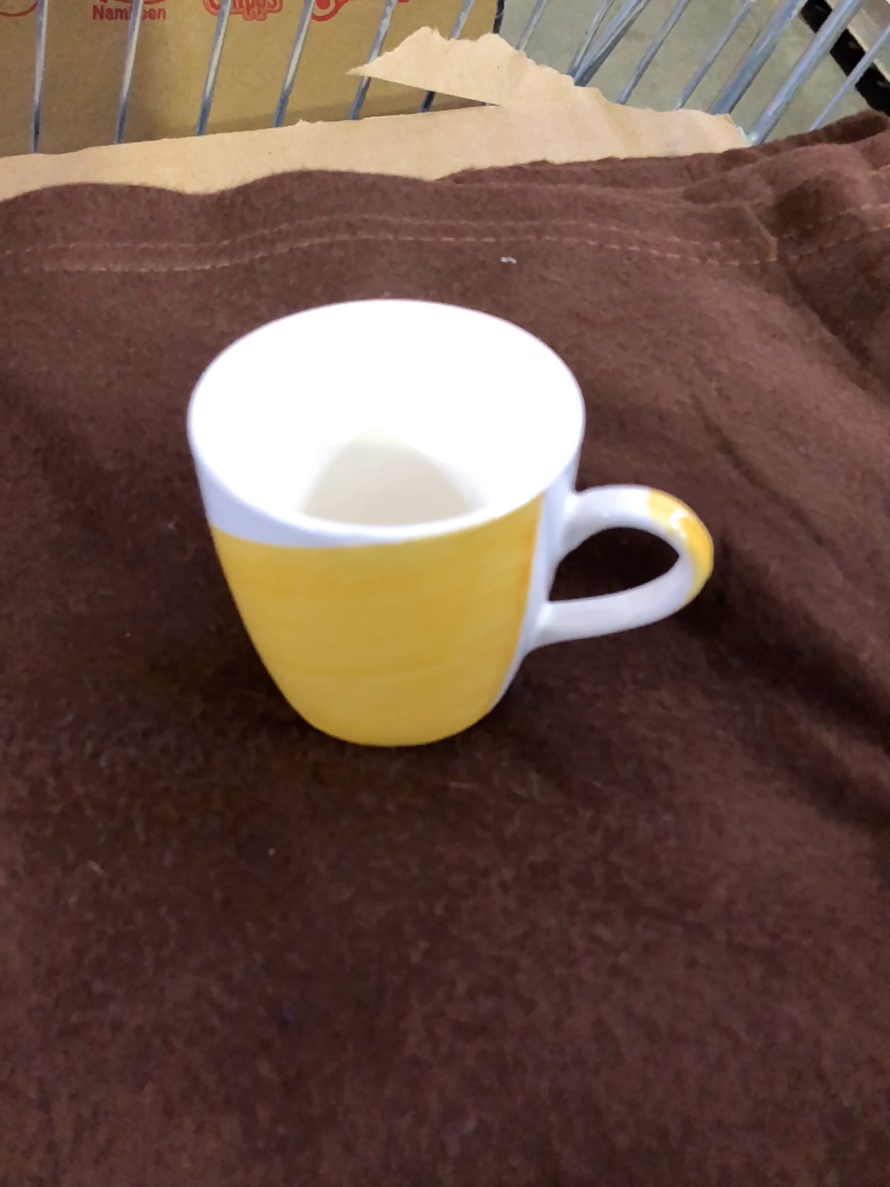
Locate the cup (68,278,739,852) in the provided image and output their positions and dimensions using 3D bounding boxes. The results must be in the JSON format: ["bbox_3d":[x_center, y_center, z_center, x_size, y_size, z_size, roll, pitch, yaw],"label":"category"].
[{"bbox_3d":[-0.002,-0.007,0.171,0.090,0.060,0.060,11,46,8],"label":"cup"}]
